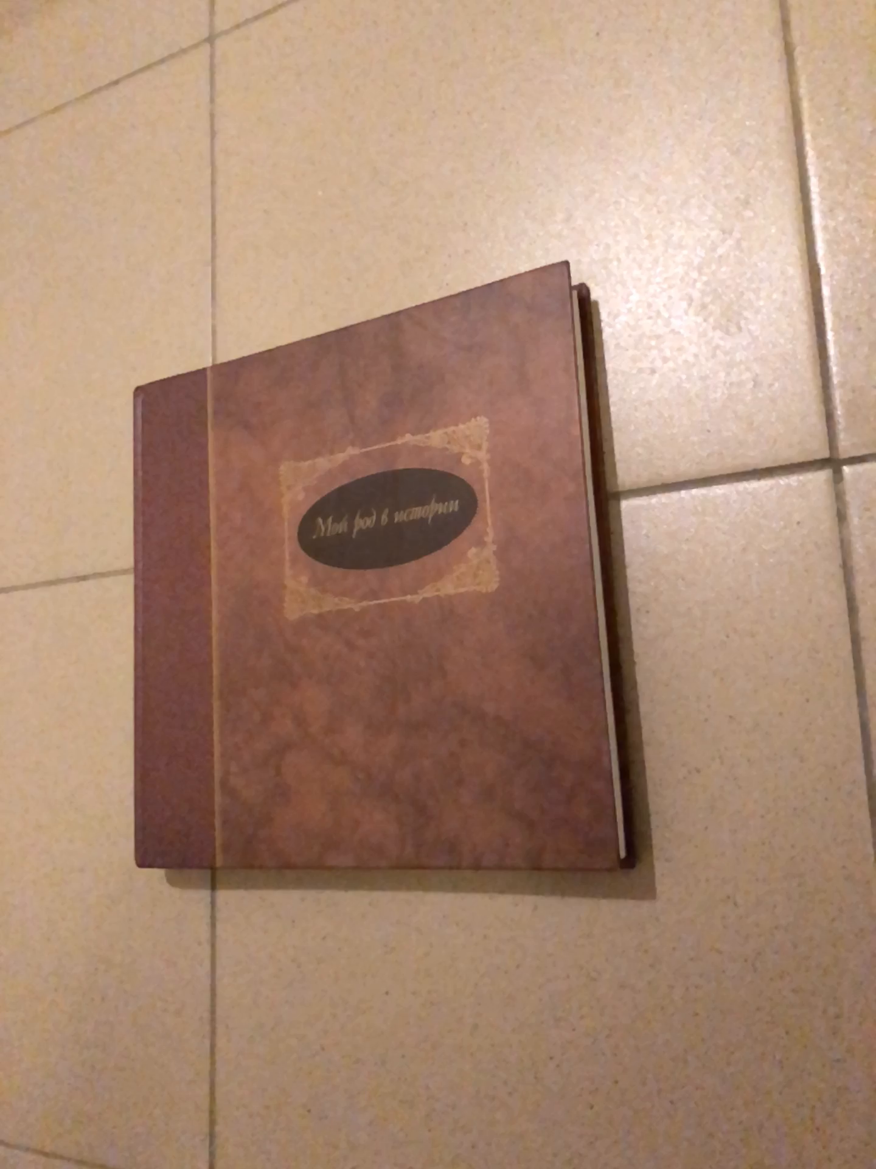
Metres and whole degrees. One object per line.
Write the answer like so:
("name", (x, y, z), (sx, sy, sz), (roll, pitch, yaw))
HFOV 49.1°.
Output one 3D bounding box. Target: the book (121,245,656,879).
("book", (-0.039, 0.003, 0.433), (0.244, 0.038, 0.244), (-10, 76, 28))
